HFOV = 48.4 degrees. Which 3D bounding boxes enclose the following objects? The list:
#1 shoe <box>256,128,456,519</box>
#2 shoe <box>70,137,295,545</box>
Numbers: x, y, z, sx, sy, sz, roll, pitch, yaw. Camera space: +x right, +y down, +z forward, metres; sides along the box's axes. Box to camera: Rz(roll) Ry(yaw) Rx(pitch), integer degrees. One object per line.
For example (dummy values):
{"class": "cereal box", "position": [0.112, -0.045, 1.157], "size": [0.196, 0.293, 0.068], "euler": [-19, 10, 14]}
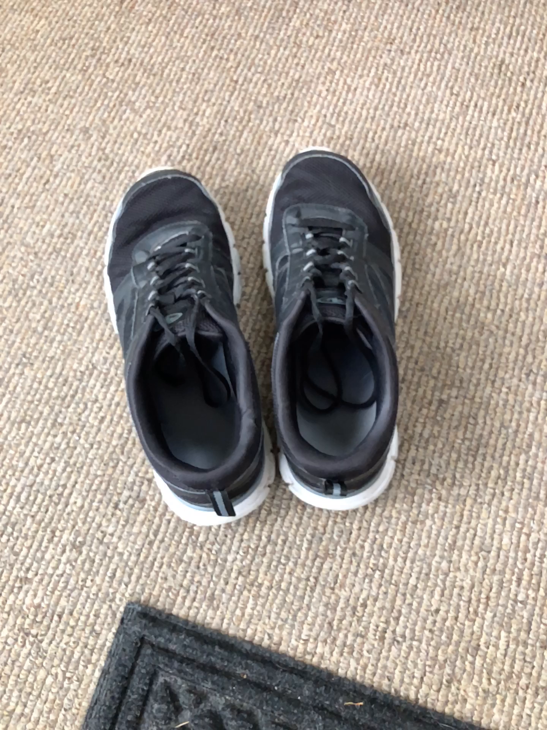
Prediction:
{"class": "shoe", "position": [0.051, -0.029, 0.463], "size": [0.120, 0.111, 0.276], "euler": [0, 71, 1]}
{"class": "shoe", "position": [-0.069, -0.018, 0.461], "size": [0.118, 0.100, 0.276], "euler": [-10, 71, -2]}
